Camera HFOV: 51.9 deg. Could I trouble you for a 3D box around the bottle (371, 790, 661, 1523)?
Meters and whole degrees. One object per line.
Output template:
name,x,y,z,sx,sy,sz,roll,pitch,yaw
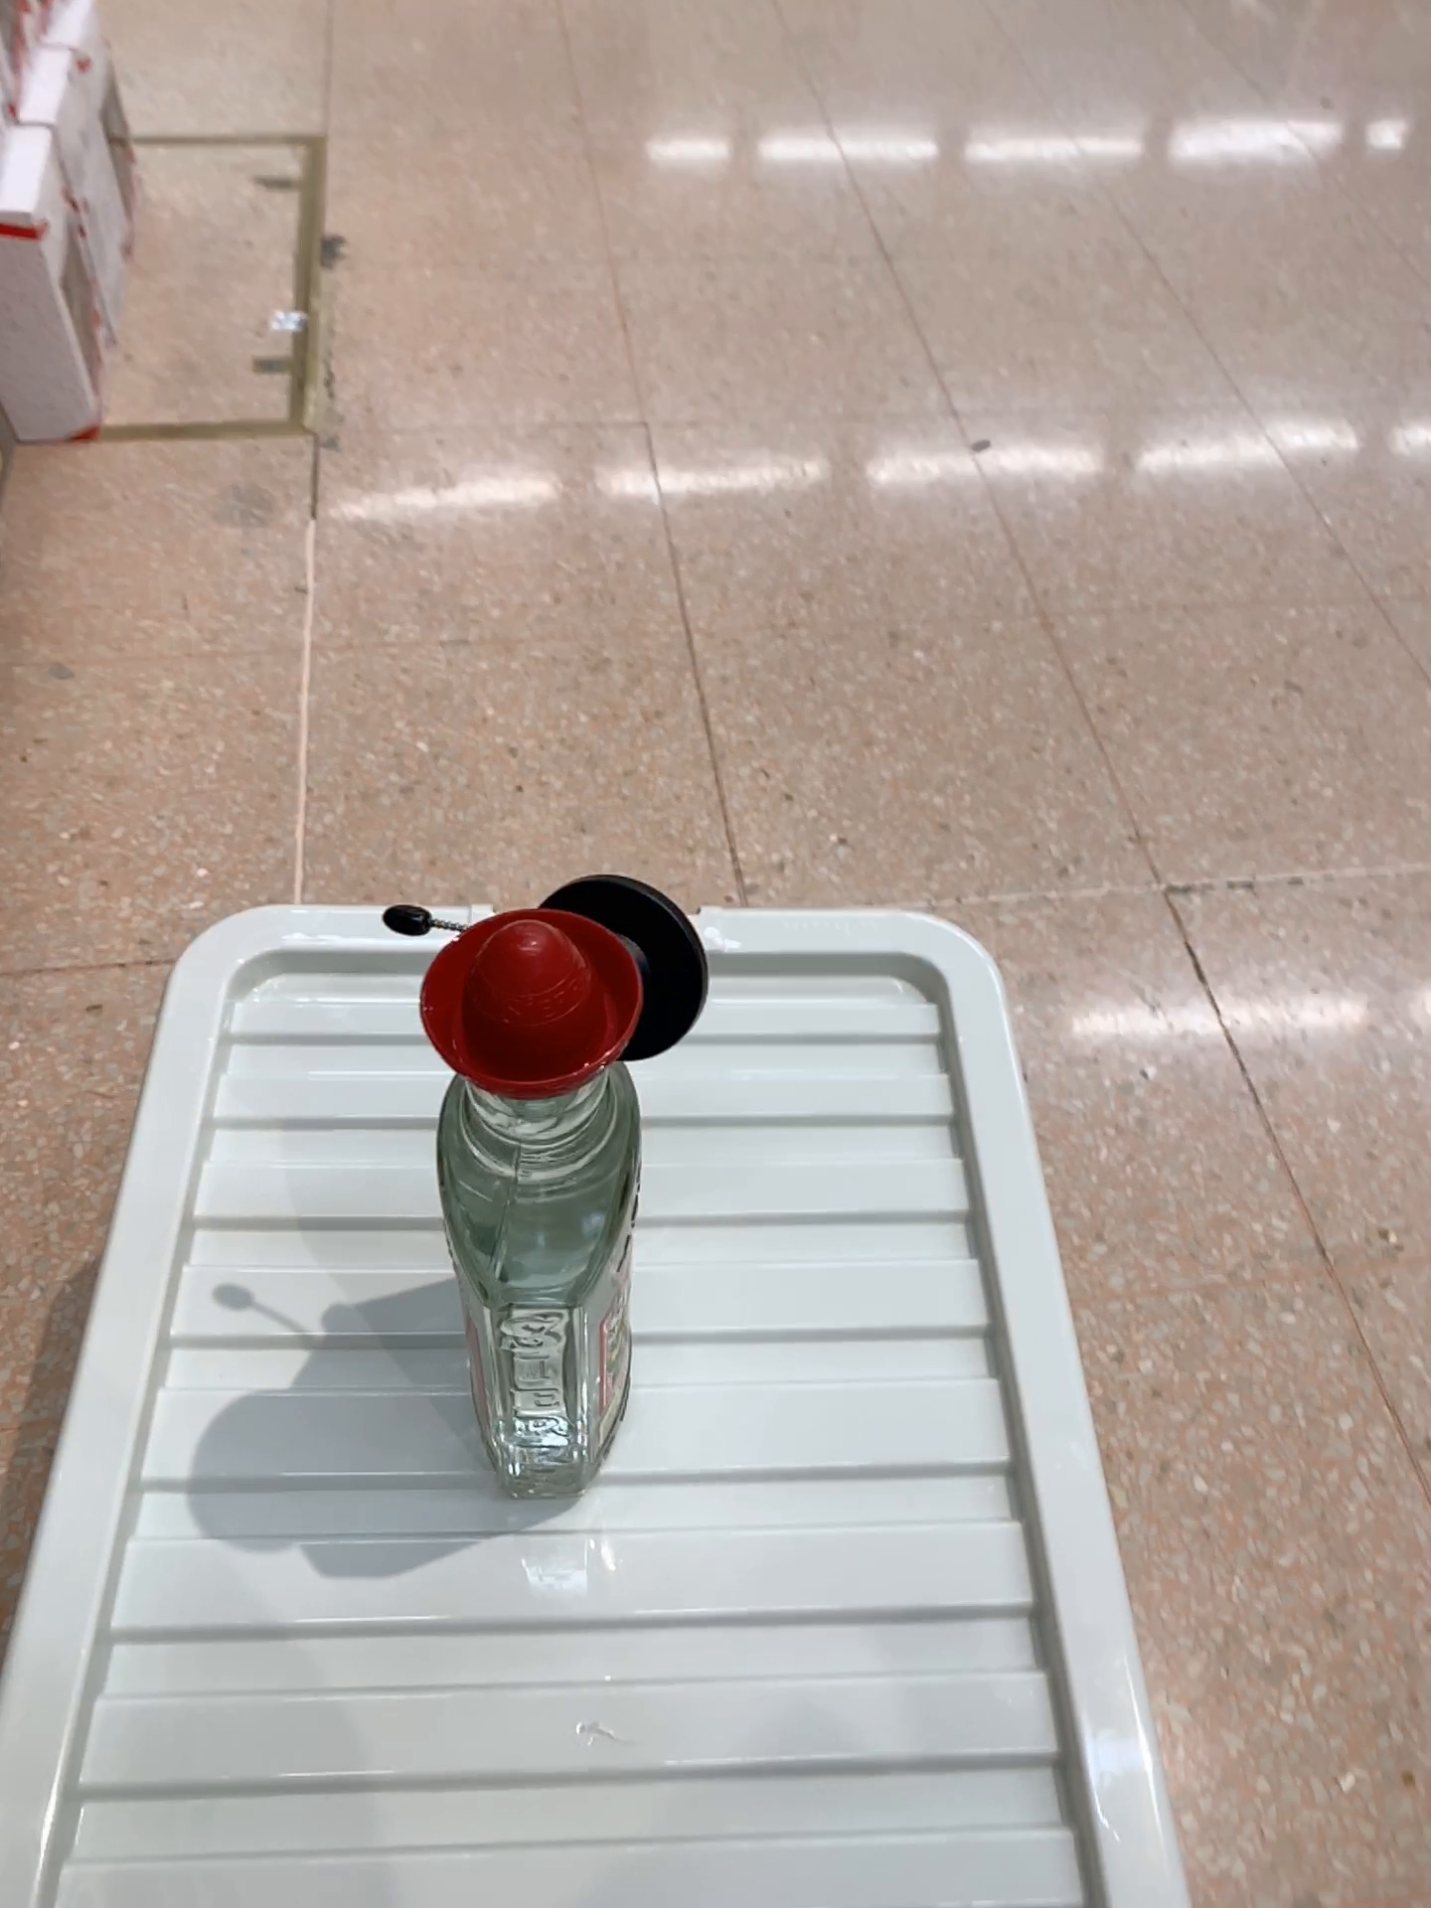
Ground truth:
bottle,-0.049,0.075,0.428,0.058,0.240,0.104,2,52,-3
